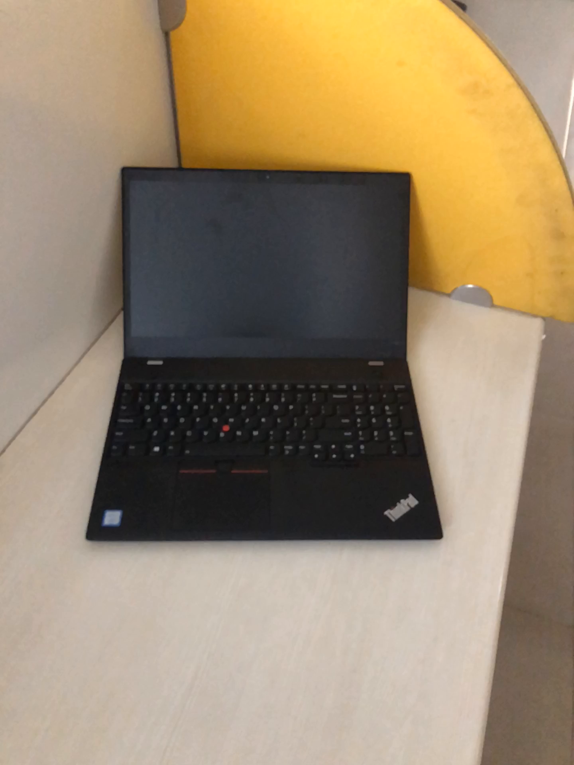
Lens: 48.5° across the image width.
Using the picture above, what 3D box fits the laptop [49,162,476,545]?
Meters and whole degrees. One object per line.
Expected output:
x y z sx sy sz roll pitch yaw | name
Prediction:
-0.026 -0.053 0.705 0.344 0.150 0.422 1 50 -3 | laptop
